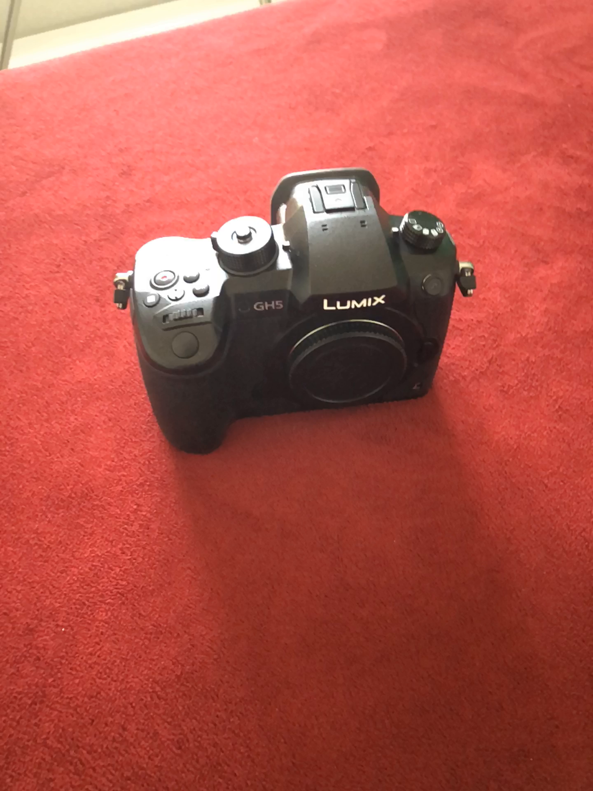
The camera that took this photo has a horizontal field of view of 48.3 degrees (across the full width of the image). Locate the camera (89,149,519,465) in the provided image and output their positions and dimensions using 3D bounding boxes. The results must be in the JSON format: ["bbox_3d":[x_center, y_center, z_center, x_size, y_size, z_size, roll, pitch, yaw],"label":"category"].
[{"bbox_3d":[-0.001,-0.037,0.286,0.148,0.087,0.086,-6,53,-4],"label":"camera"}]
